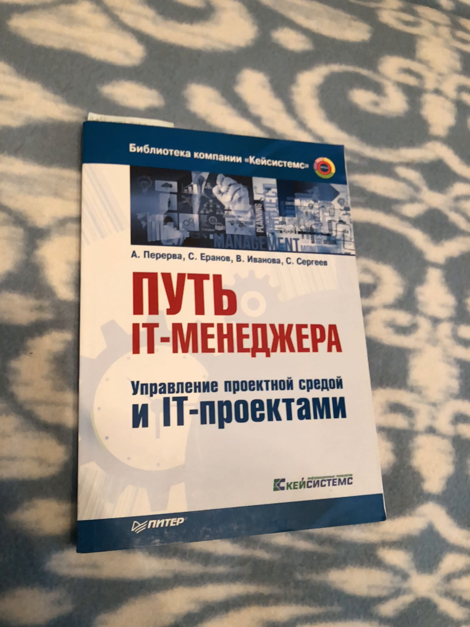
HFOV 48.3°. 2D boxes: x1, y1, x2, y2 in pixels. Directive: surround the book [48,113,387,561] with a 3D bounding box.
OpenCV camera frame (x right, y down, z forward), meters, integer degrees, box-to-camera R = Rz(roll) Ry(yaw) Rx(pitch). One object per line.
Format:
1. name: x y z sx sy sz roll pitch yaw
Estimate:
1. book: -0.009 0.004 0.294 0.173 0.019 0.228 1 77 -15
